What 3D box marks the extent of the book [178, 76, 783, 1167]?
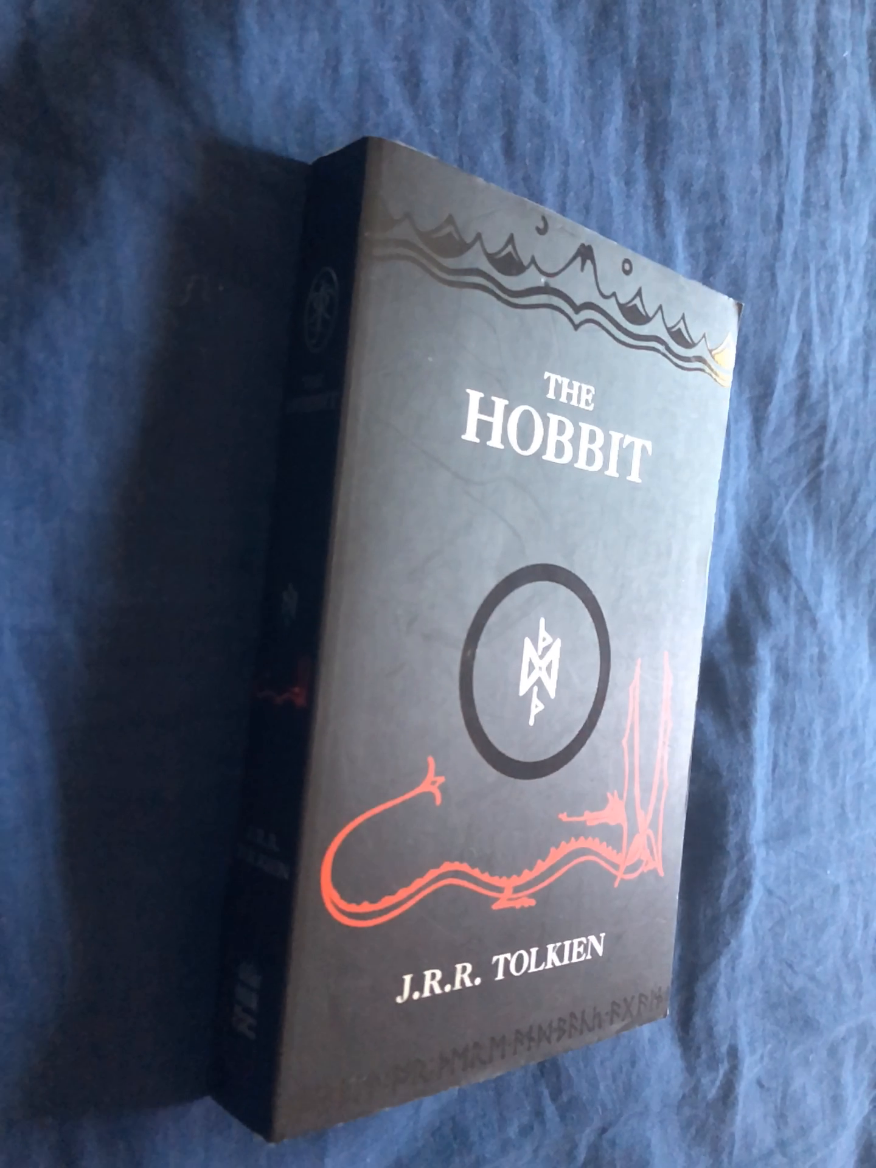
[{"bbox_3d":[0.018,0.012,0.209,0.120,0.040,0.180,7,88,-41],"label":"book"}]
